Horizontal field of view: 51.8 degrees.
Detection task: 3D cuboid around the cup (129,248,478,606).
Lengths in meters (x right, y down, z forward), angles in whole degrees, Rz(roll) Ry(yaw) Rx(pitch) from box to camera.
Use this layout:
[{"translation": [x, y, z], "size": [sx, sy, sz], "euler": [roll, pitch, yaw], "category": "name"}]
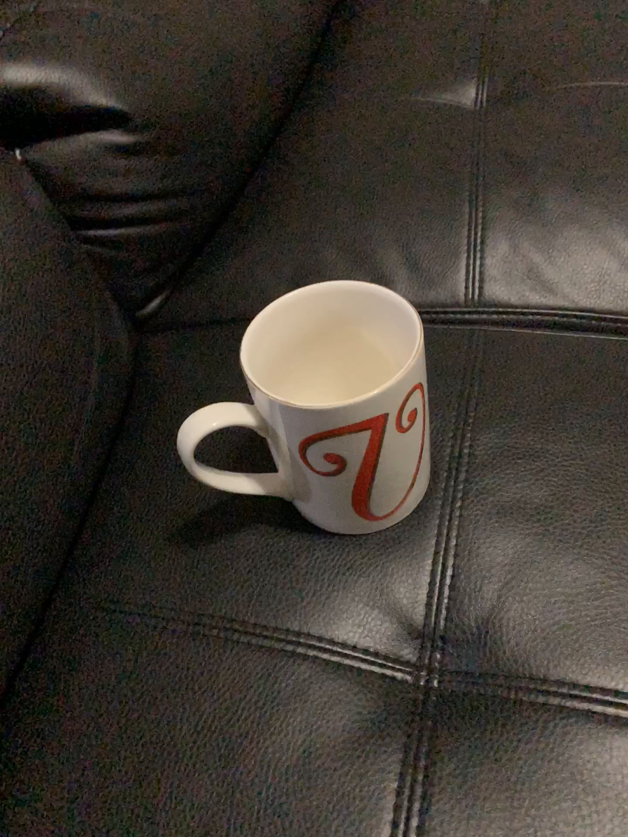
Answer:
[{"translation": [-0.002, 0.003, 0.338], "size": [0.139, 0.106, 0.098], "euler": [-23, 47, -8], "category": "cup"}]
